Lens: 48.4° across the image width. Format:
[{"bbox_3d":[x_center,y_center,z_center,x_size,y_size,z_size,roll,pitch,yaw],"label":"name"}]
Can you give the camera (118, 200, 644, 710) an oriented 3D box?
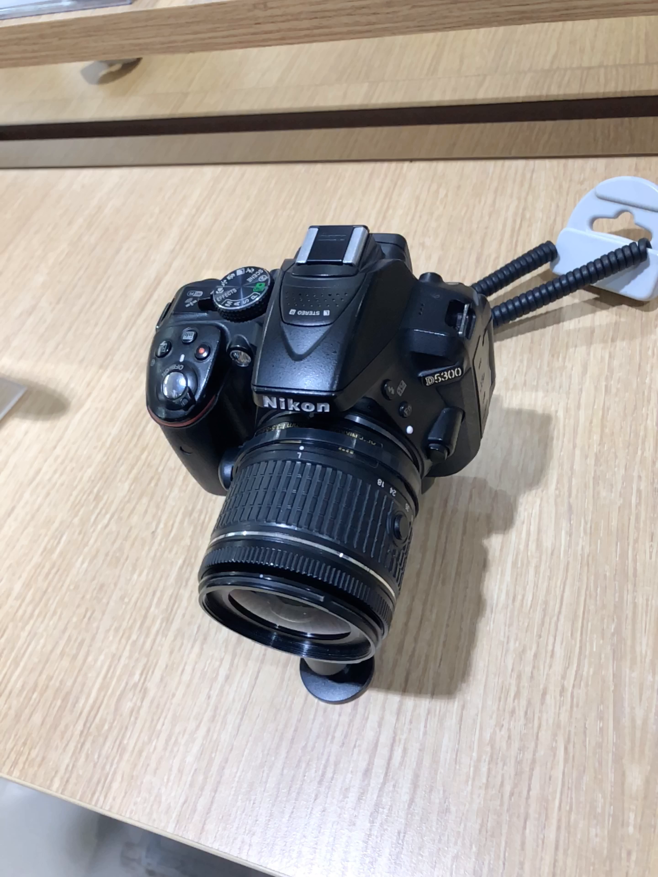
[{"bbox_3d":[0.029,0.004,0.234,0.120,0.102,0.110,5,56,20],"label":"camera"}]
